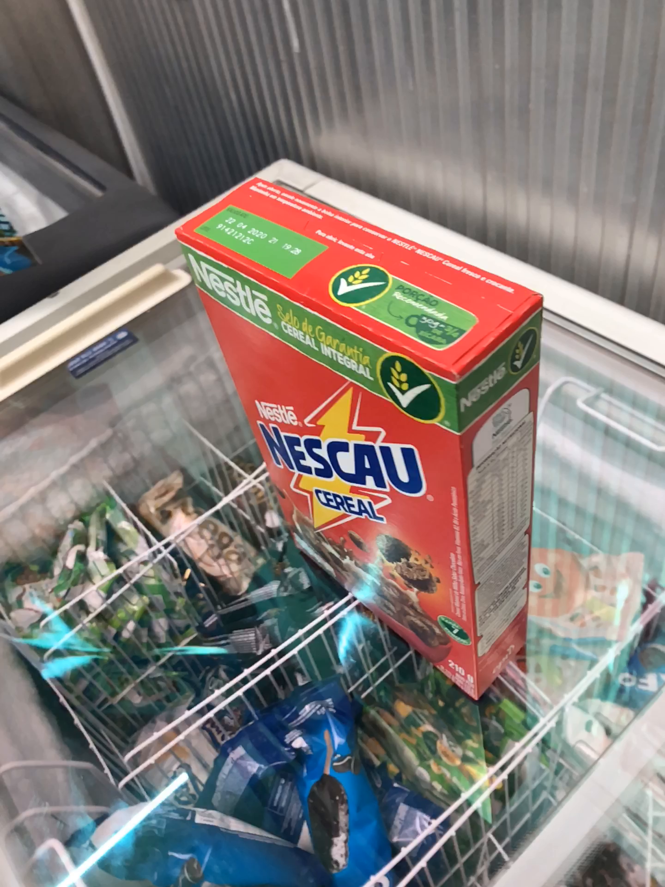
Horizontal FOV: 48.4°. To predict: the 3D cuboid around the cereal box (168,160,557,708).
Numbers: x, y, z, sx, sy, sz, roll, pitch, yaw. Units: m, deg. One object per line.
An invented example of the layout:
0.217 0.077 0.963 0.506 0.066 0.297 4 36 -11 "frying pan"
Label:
0.023 0.008 0.381 0.050 0.258 0.171 -38 51 -20 "cereal box"
